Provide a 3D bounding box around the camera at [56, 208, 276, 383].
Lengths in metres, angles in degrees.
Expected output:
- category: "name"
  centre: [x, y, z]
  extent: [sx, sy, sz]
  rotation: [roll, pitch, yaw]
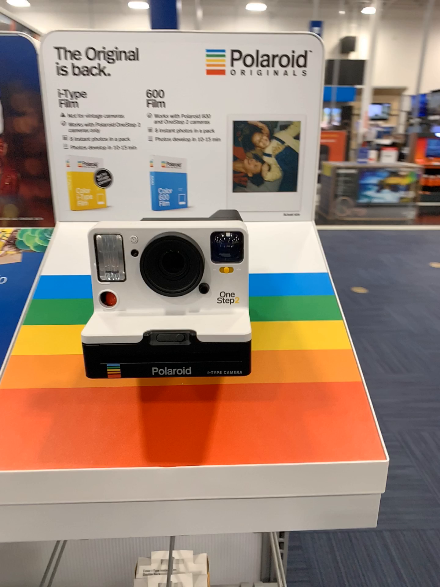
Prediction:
- category: "camera"
  centre: [-0.035, -0.010, 0.354]
  extent: [0.130, 0.090, 0.151]
  rotation: [0, 19, -2]
